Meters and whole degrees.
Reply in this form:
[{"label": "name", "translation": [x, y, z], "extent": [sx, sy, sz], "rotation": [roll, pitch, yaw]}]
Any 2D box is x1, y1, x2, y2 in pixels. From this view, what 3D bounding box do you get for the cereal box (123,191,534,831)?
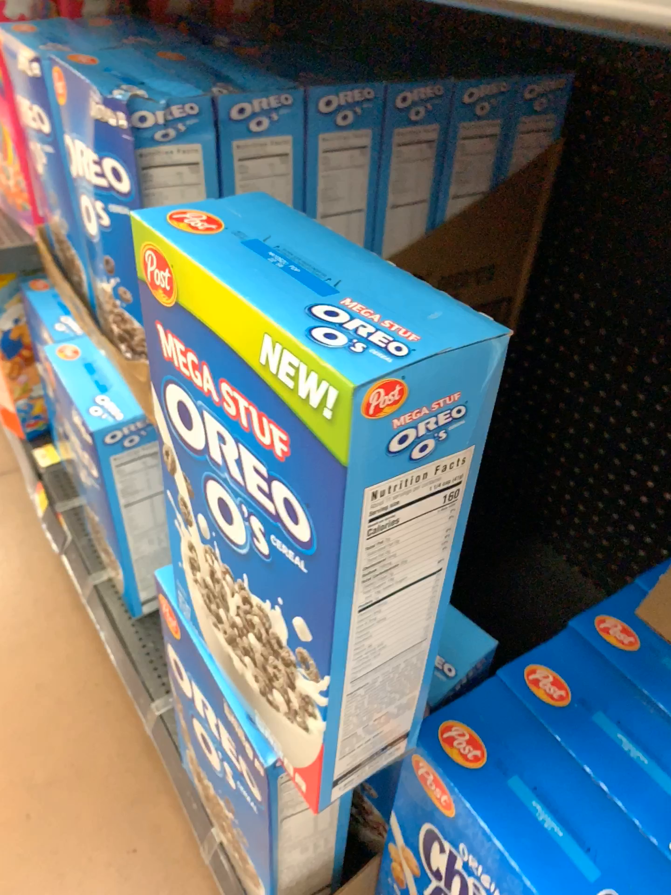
[{"label": "cereal box", "translation": [-0.026, 0.039, 0.399], "extent": [0.080, 0.298, 0.201], "rotation": [-21, 44, -31]}]
